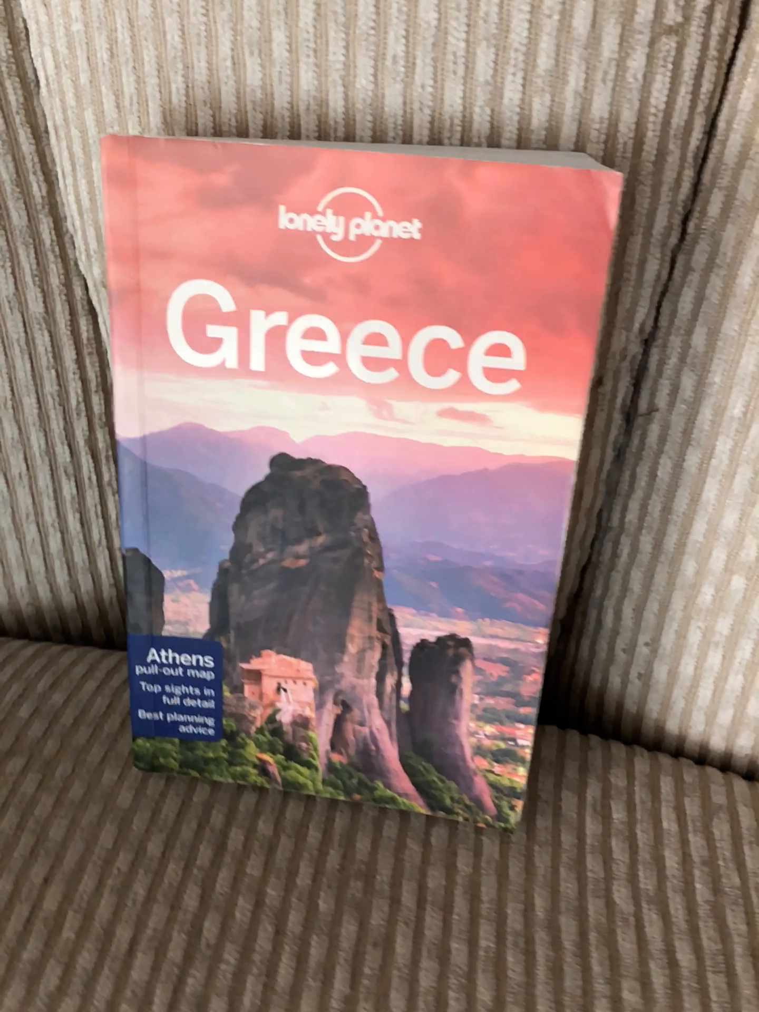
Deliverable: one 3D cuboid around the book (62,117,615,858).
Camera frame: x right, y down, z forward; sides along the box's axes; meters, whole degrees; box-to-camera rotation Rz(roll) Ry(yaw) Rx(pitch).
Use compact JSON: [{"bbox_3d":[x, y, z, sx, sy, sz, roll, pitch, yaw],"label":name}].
[{"bbox_3d":[-0.015,-0.001,0.253,0.132,0.201,0.041,7,21,9],"label":"book"}]
